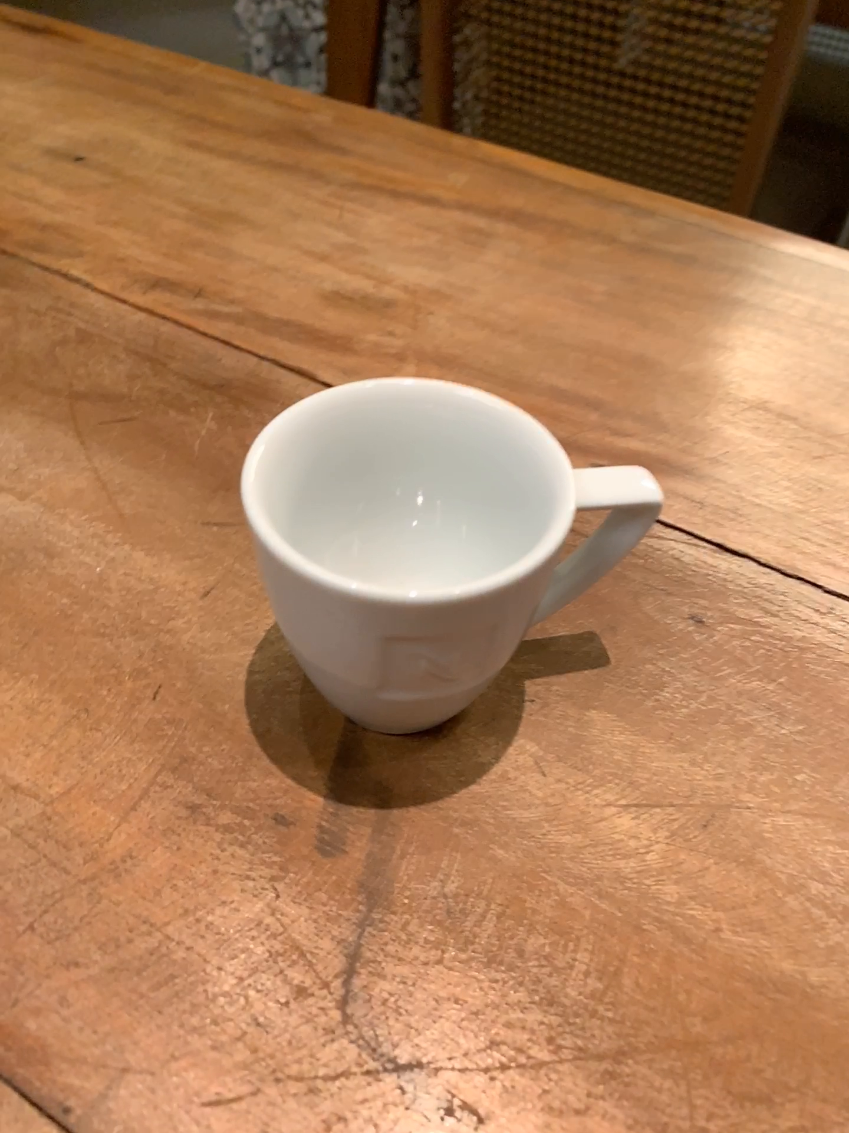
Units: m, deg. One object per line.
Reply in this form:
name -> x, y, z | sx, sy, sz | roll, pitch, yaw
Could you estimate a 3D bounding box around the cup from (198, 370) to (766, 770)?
cup -> 0.007, 0.001, 0.177 | 0.090, 0.050, 0.060 | 1, 47, -5
